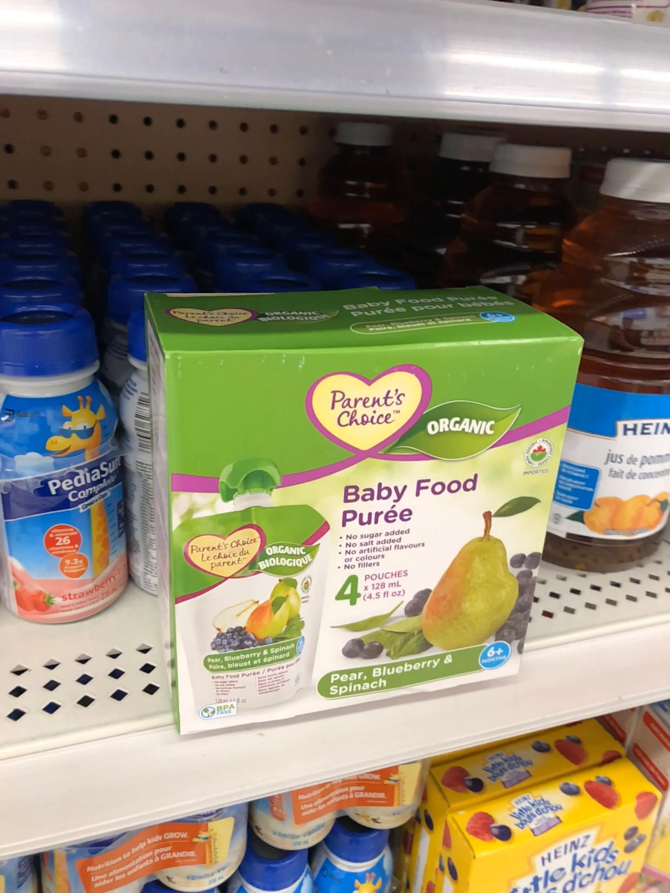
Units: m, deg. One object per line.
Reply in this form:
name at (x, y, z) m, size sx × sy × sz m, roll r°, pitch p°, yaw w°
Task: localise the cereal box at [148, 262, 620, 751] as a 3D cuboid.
cereal box at (0.006, 0.016, 0.303) m, size 0.150 × 0.159 × 0.091 m, roll -3°, pitch 26°, yaw -18°
